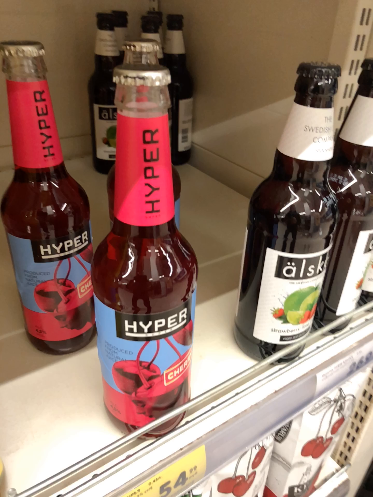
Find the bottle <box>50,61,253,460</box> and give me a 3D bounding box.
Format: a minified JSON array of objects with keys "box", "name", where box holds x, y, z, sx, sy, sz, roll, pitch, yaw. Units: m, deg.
[{"box":[-0.025,0.018,0.264,0.080,0.243,0.070,-11,34,-21],"name":"bottle"}]
